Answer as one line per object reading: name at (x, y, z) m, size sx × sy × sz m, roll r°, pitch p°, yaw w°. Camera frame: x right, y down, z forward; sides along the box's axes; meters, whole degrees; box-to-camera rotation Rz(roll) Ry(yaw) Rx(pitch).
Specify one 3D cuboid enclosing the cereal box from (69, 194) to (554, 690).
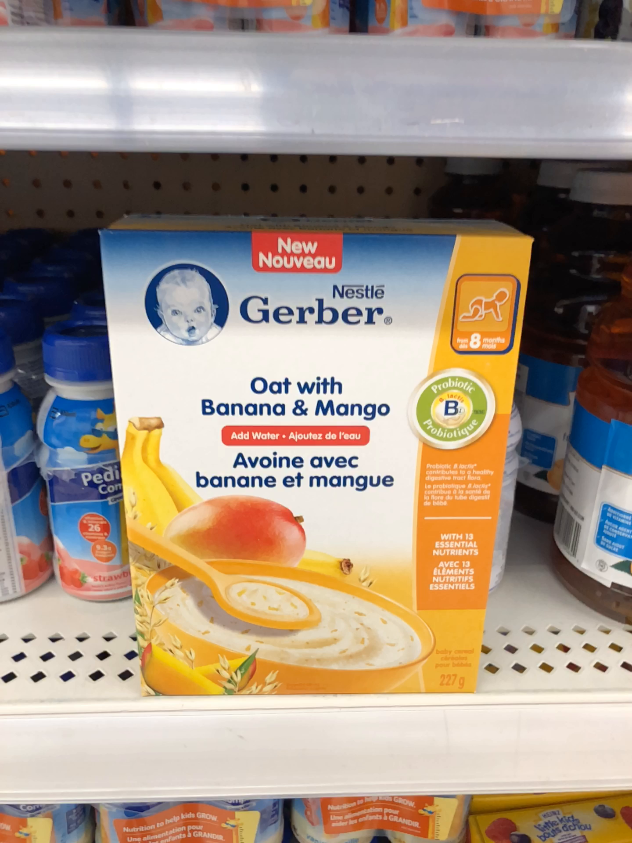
cereal box at (-0.004, 0.015, 0.273) m, size 0.150 × 0.189 × 0.040 m, roll 1°, pitch 23°, yaw -3°
